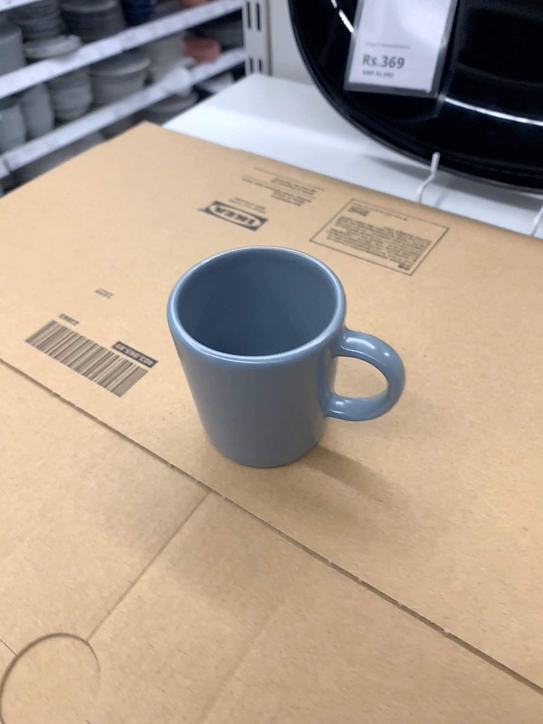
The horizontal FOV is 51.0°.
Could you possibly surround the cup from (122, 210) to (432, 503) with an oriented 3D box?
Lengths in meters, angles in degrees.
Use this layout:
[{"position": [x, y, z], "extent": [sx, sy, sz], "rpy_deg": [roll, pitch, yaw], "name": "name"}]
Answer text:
[{"position": [0.005, -0.004, 0.197], "extent": [0.080, 0.060, 0.060], "rpy_deg": [14, 47, 15], "name": "cup"}]
